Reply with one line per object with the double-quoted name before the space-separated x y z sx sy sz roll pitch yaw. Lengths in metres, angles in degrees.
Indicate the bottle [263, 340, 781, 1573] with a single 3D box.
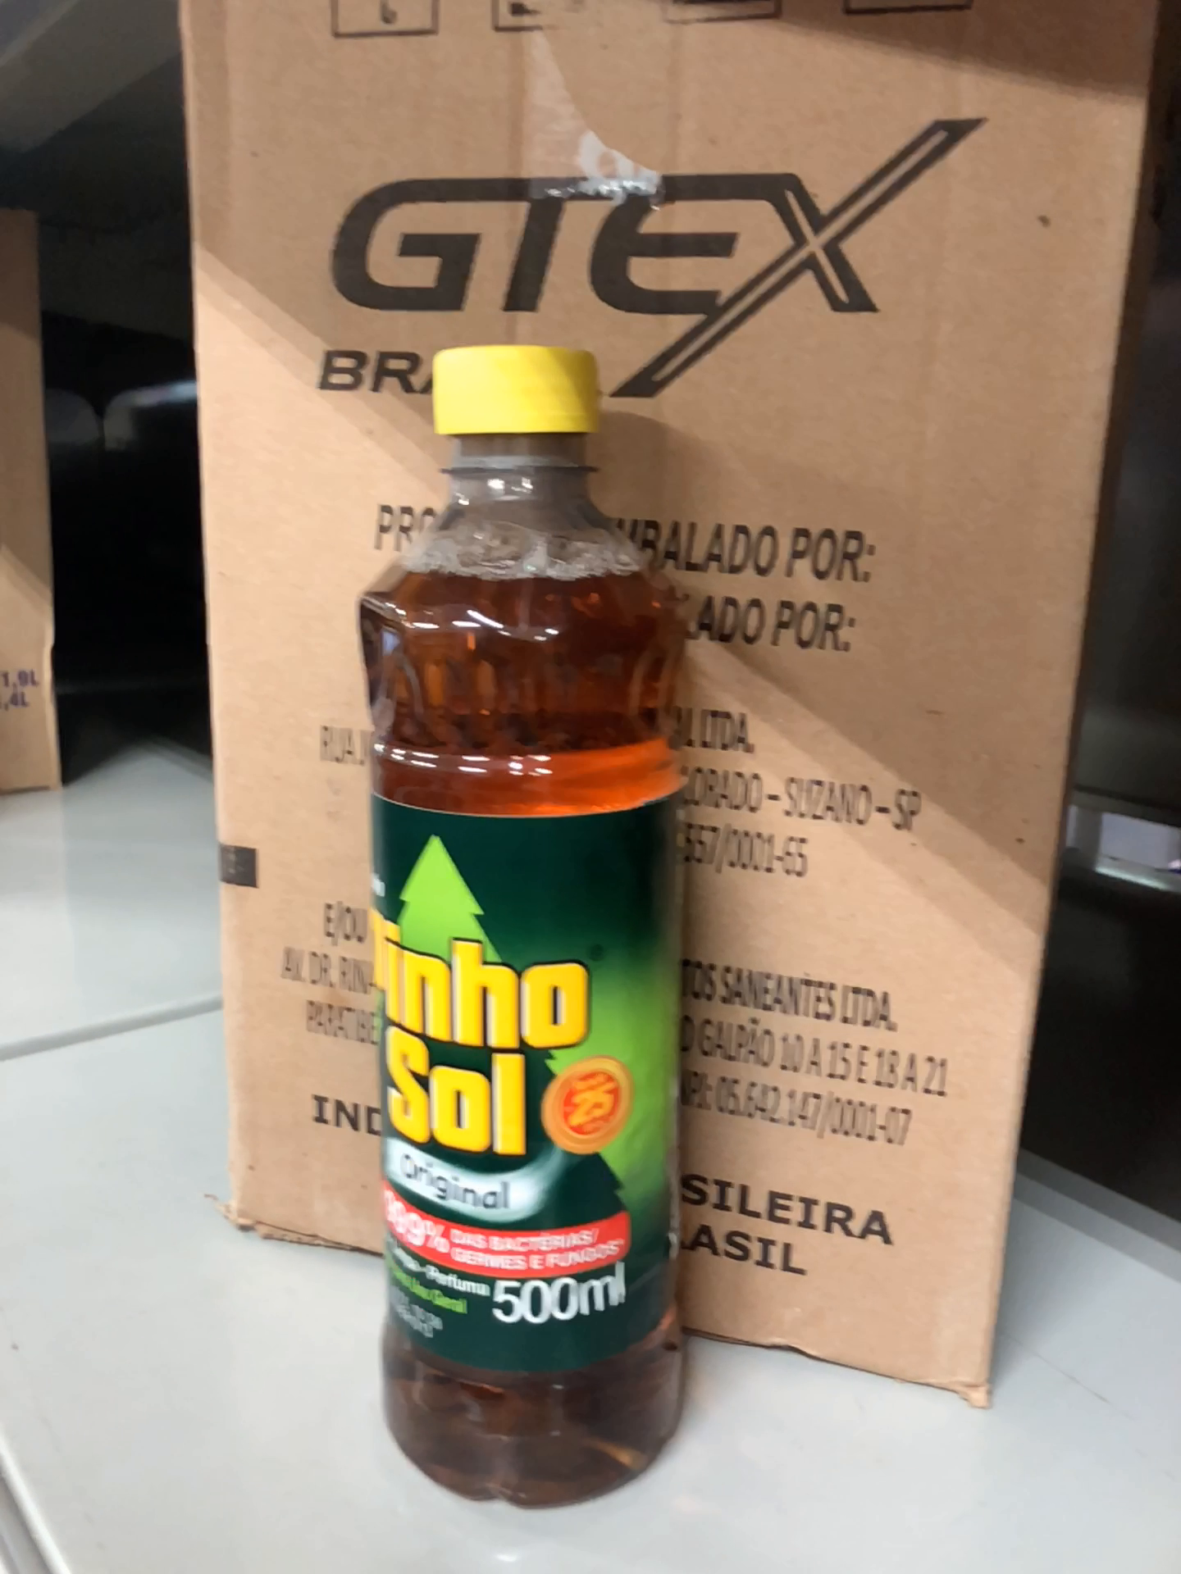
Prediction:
"bottle" -0.010 0.032 0.254 0.070 0.219 0.060 6 15 23
